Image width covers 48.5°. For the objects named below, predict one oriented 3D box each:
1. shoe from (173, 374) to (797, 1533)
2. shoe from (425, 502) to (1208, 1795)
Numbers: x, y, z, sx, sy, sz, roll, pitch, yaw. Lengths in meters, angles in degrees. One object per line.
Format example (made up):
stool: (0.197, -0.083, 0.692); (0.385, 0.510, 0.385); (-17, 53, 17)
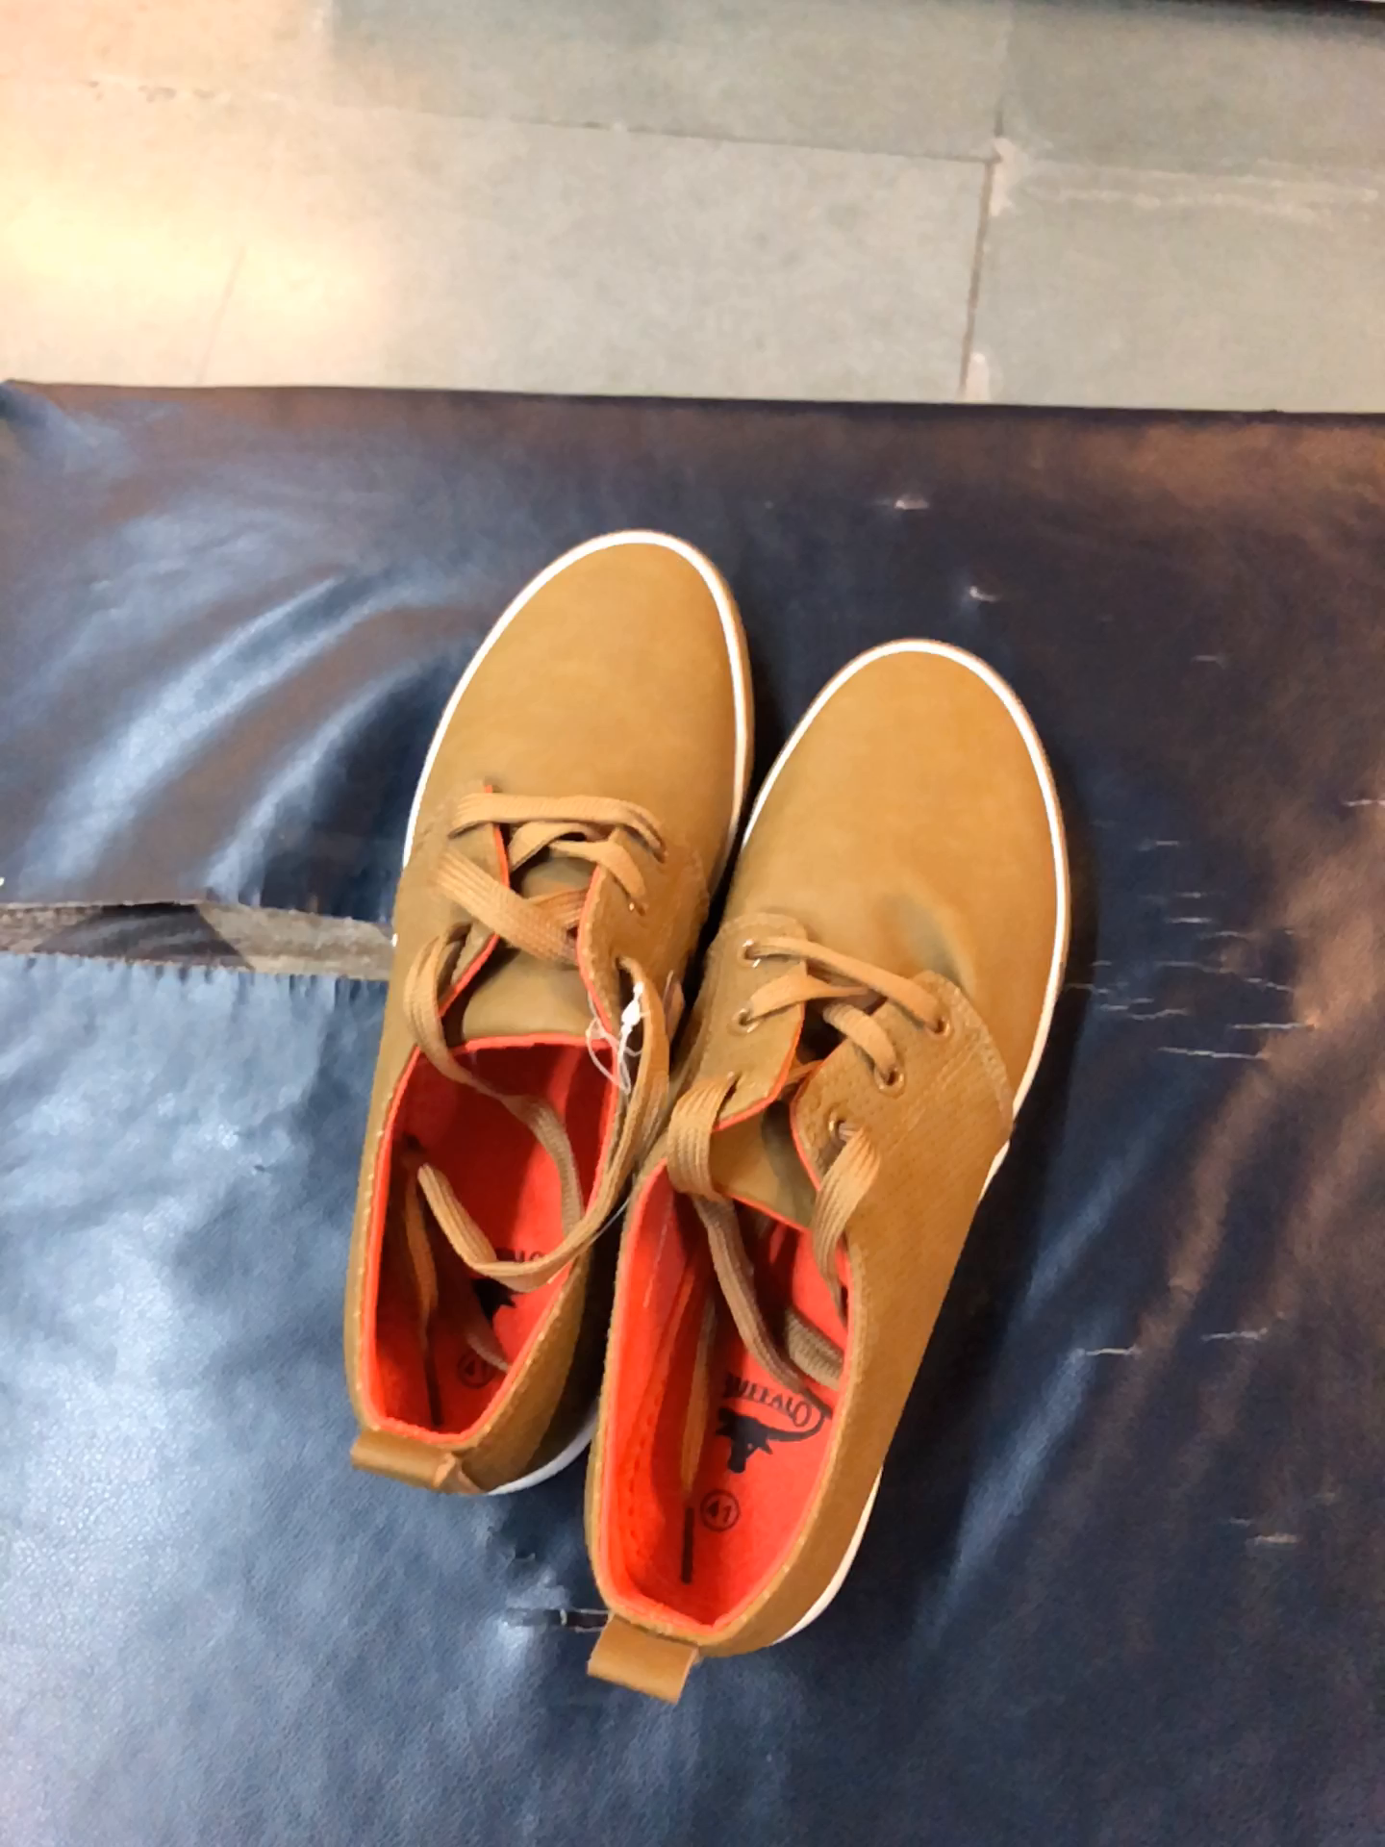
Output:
shoe: (-0.035, 0.005, 0.387); (0.100, 0.097, 0.266); (5, 69, 5)
shoe: (0.038, 0.043, 0.368); (0.095, 0.091, 0.261); (16, 71, 9)
